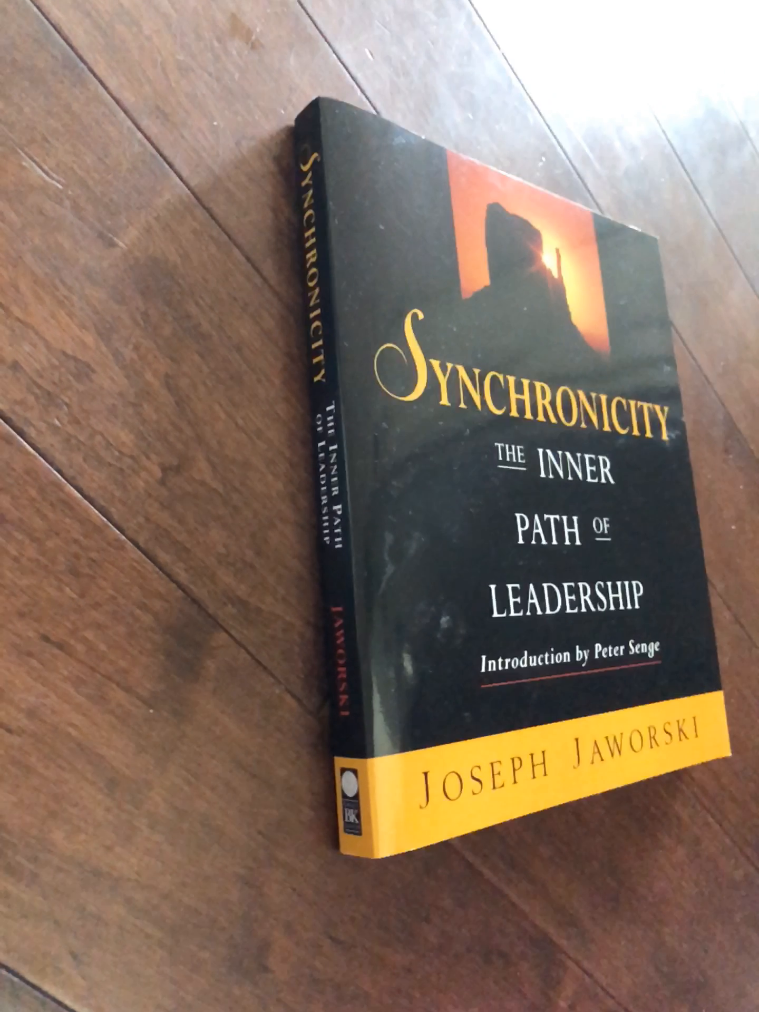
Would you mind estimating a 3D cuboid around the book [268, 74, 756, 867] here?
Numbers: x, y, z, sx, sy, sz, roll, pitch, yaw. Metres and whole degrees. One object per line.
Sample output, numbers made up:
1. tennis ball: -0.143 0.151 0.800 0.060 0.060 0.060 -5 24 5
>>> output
1. book: 0.057 -0.012 0.305 0.191 0.030 0.222 2 79 -40
